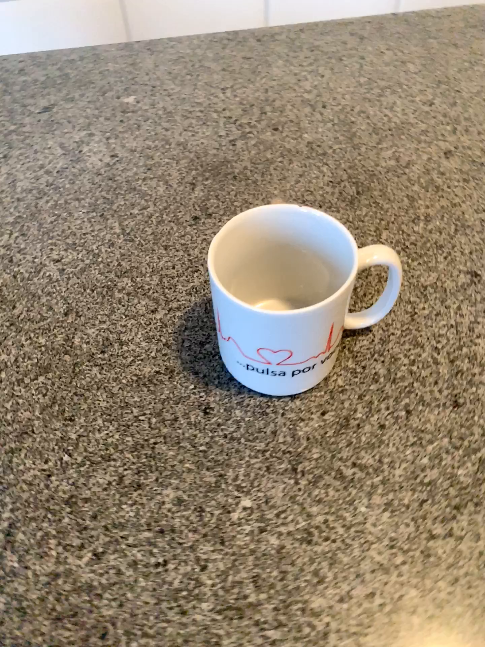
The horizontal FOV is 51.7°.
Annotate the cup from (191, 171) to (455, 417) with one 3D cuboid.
[{"bbox_3d":[0.038,-0.016,0.305,0.120,0.100,0.090,-9,53,-4],"label":"cup"}]

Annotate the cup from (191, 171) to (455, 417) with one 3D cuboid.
[{"bbox_3d":[0.038,-0.016,0.305,0.120,0.100,0.090,-9,53,-4],"label":"cup"}]
